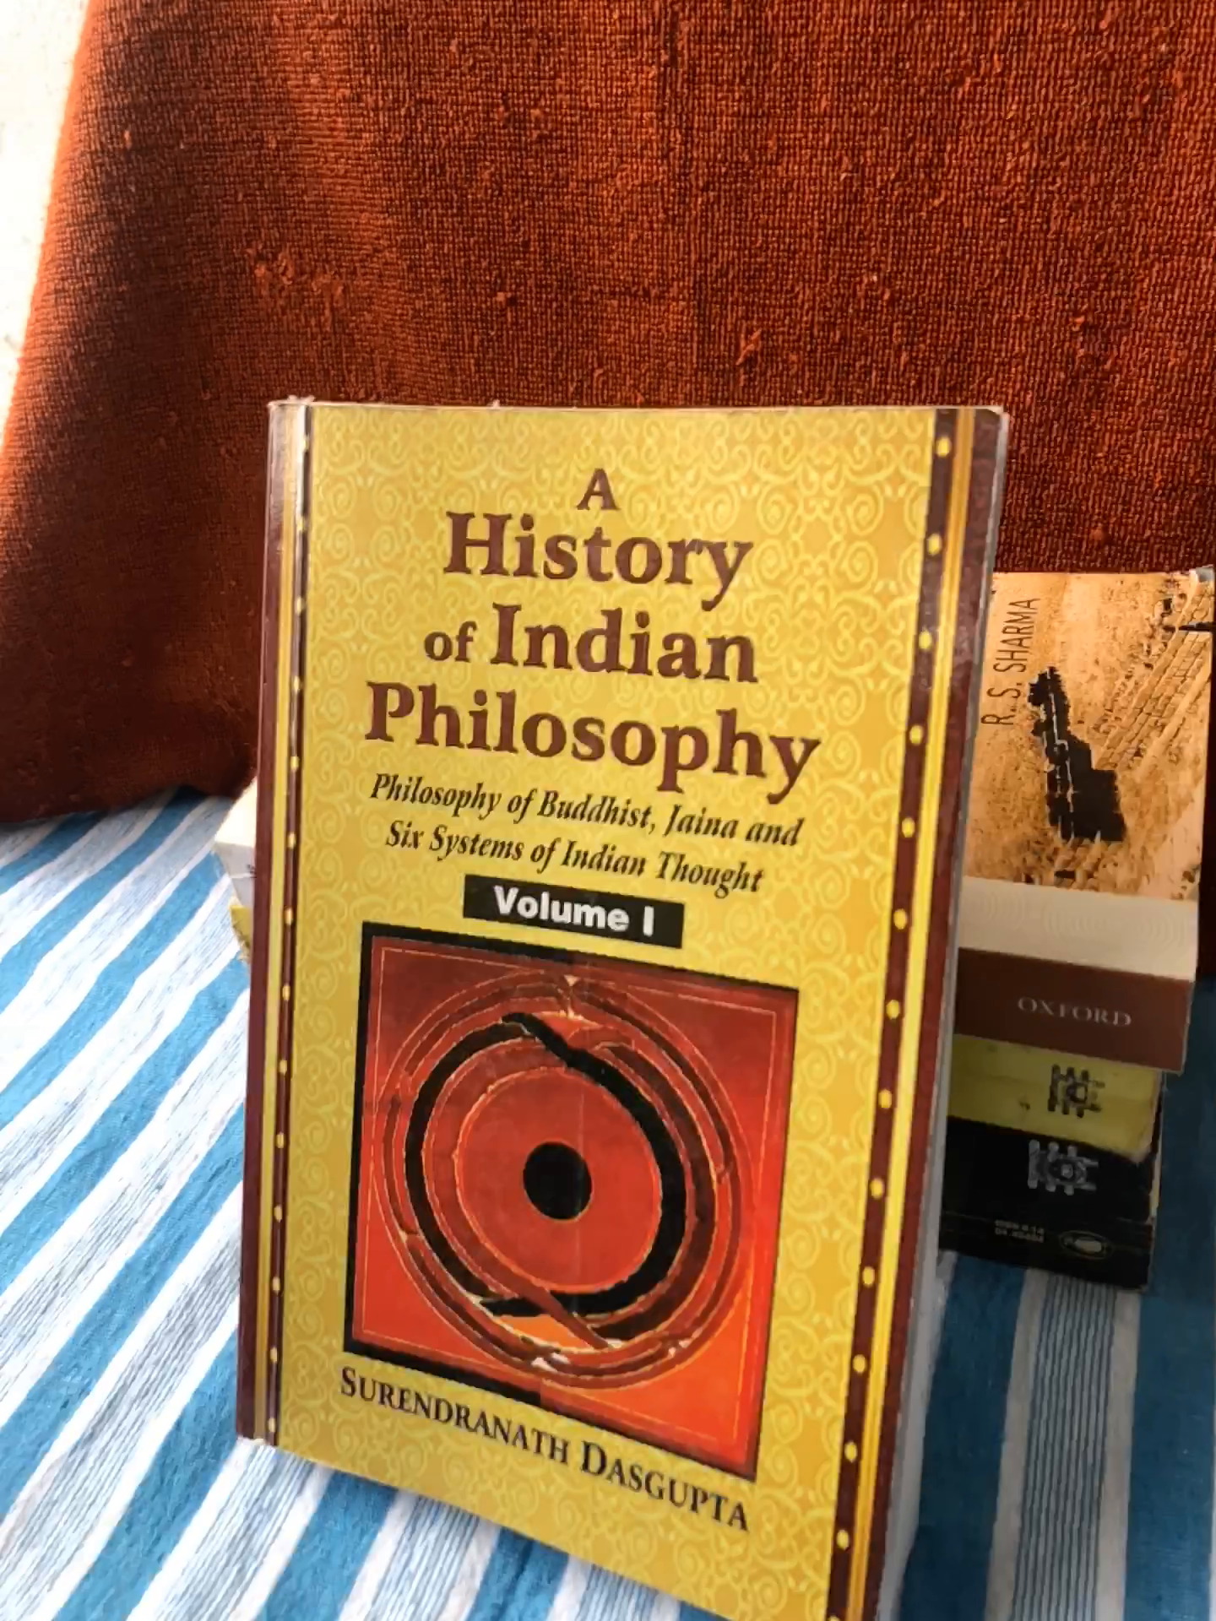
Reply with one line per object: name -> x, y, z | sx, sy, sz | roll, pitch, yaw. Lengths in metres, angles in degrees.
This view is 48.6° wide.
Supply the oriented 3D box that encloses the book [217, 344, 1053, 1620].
book -> -0.001, 0.029, 0.261 | 0.141, 0.216, 0.048 | 6, 7, 25
